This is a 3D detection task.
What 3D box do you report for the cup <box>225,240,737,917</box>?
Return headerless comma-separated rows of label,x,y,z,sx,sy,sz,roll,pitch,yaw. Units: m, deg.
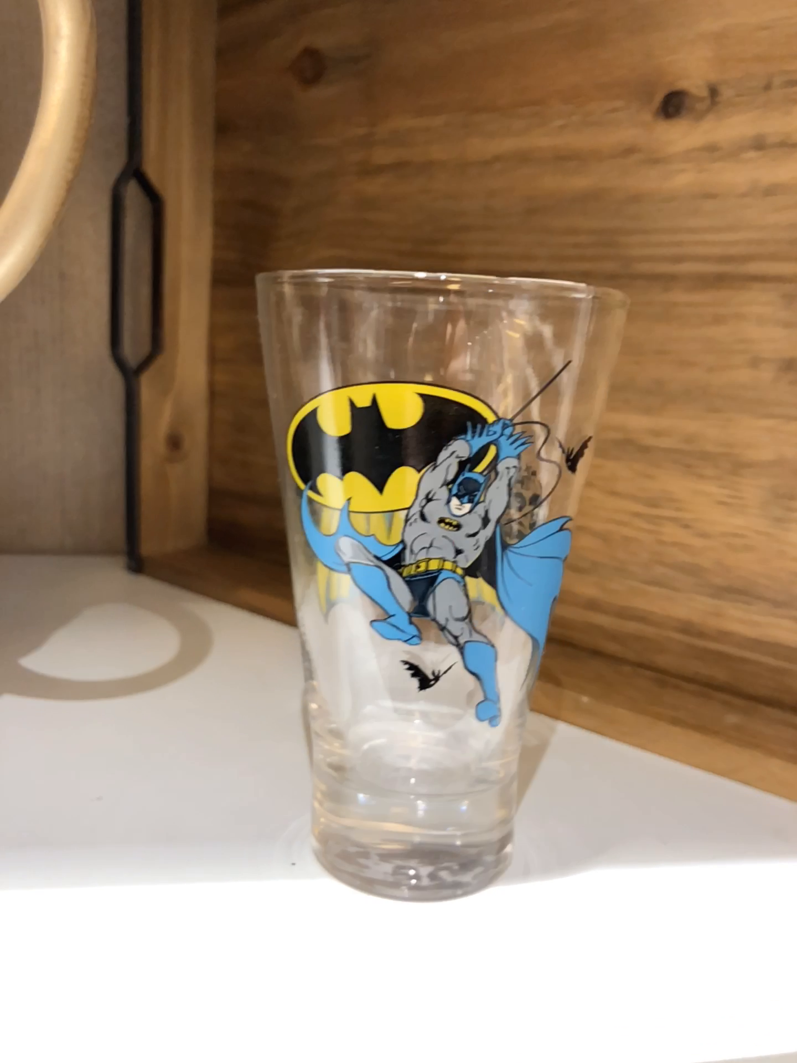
cup,0.013,0.005,0.212,0.090,0.130,0.080,3,11,0
